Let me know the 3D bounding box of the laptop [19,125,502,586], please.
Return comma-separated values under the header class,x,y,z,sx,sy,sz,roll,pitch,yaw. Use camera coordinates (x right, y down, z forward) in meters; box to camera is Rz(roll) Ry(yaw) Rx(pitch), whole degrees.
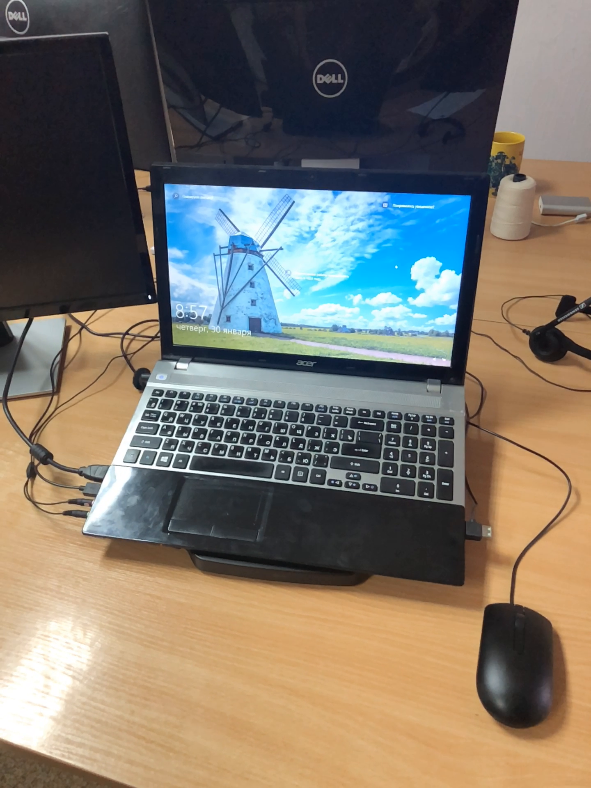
class,x,y,z,sx,sy,sz,roll,pitch,yaw
laptop,-0.005,-0.066,0.666,0.373,0.211,0.361,5,48,9
